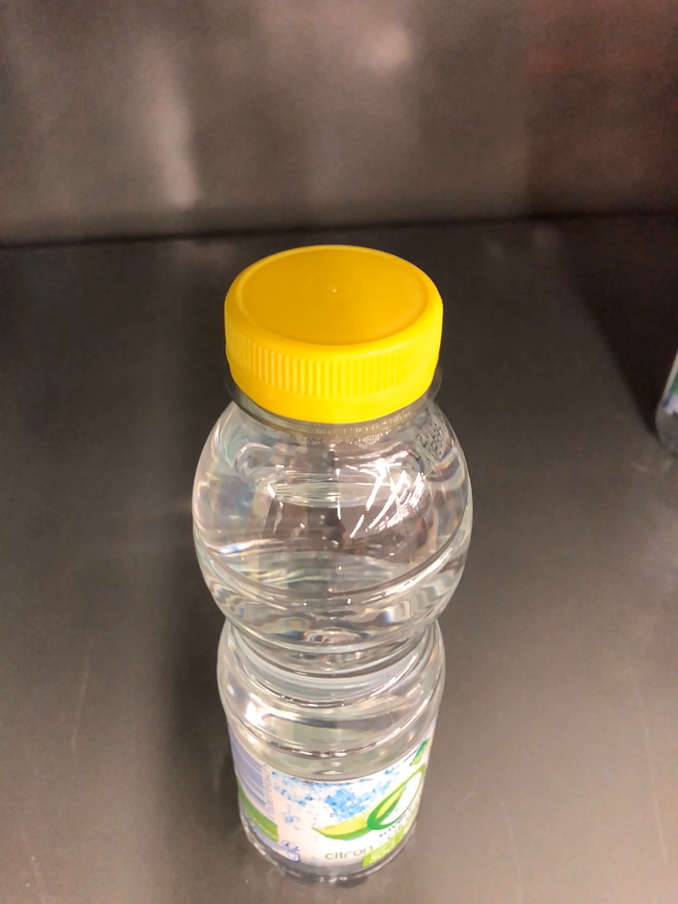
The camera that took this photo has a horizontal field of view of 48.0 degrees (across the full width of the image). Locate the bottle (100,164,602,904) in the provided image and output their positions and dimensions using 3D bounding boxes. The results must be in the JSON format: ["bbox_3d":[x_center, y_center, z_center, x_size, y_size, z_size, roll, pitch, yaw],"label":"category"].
[{"bbox_3d":[0.002,0.043,0.207,0.070,0.209,0.060,-29,49,-30],"label":"bottle"}]
